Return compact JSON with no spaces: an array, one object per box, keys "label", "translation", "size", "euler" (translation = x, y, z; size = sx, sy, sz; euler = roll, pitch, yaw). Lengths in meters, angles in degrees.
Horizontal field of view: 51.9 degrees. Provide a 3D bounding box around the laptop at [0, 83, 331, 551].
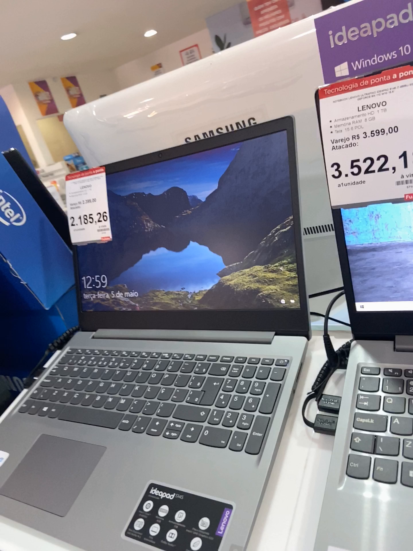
[{"label":"laptop","translation":[-0.098,0.010,0.471],"size":[0.358,0.212,0.389],"euler":[-4,33,32]}]
